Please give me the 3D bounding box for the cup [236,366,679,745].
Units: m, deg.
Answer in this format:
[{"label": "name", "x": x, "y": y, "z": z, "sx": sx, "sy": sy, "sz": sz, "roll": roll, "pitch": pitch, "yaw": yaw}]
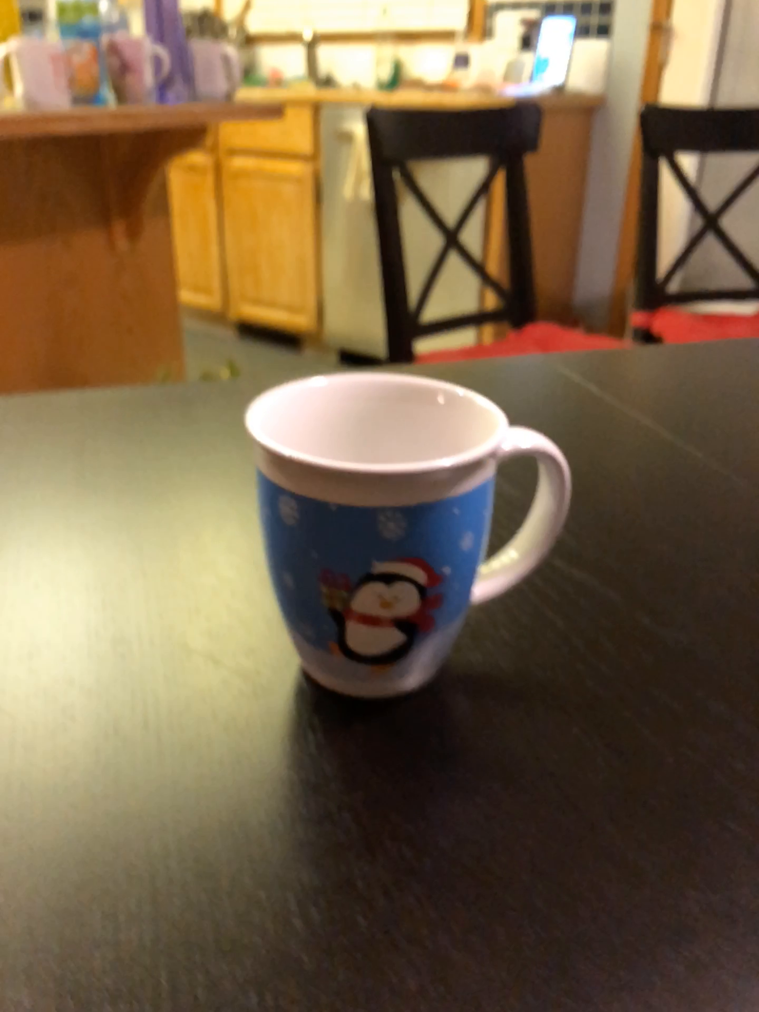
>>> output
[{"label": "cup", "x": 0.021, "y": 0.011, "z": 0.341, "sx": 0.140, "sy": 0.099, "sz": 0.100, "roll": -5, "pitch": 27, "yaw": -13}]
